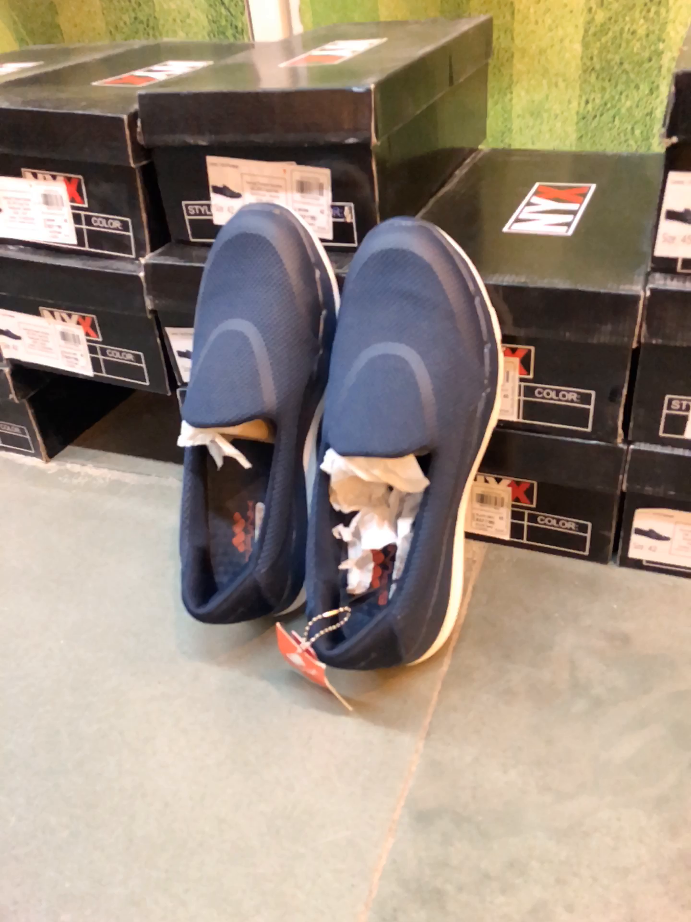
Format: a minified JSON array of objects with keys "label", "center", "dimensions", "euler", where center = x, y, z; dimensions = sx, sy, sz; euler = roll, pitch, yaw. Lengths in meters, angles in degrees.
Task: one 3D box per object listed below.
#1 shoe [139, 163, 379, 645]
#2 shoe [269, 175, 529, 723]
[{"label":"shoe","center":[-0.054,-0.039,0.496],"dimensions":[0.109,0.273,0.110],"euler":[6,11,23]},{"label":"shoe","center":[0.032,-0.011,0.436],"dimensions":[0.107,0.273,0.099],"euler":[7,10,22]}]
